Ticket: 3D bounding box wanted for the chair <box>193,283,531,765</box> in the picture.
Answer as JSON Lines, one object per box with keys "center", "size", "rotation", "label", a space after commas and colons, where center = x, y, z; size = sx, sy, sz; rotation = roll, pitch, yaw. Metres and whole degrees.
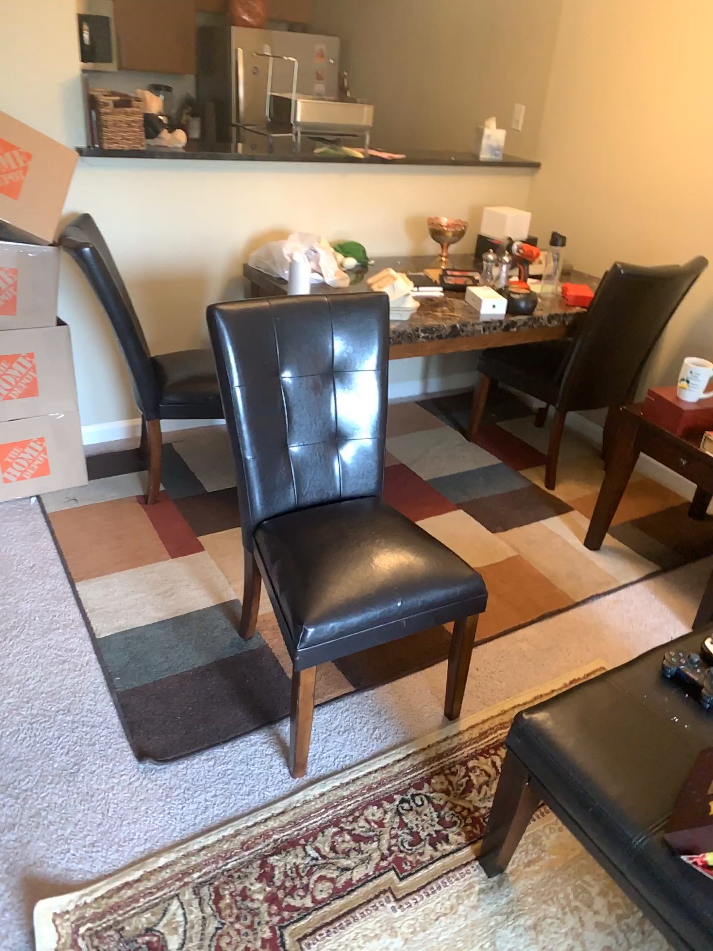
{"center": [-0.057, 0.074, 1.807], "size": [0.490, 0.915, 0.654], "rotation": [-11, 32, -27], "label": "chair"}
